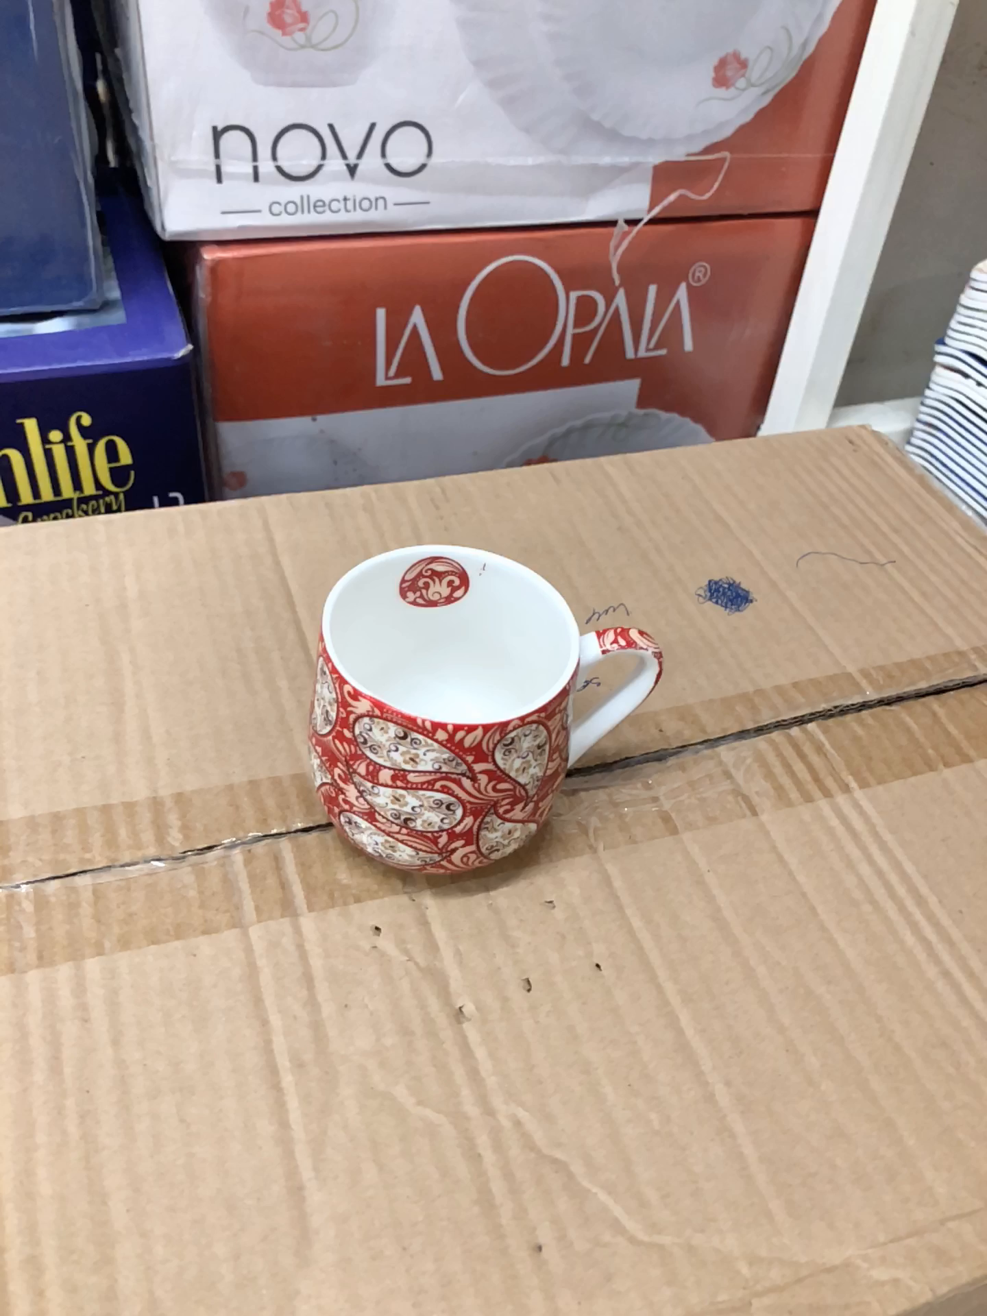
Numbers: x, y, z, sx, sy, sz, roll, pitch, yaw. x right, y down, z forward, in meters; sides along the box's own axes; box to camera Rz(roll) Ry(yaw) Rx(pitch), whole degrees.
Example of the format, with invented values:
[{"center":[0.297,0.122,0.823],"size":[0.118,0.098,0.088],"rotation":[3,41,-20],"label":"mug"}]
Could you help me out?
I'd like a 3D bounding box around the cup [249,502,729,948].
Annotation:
[{"center":[-0.005,0.012,0.272],"size":[0.090,0.060,0.070],"rotation":[-13,45,-21],"label":"cup"}]
